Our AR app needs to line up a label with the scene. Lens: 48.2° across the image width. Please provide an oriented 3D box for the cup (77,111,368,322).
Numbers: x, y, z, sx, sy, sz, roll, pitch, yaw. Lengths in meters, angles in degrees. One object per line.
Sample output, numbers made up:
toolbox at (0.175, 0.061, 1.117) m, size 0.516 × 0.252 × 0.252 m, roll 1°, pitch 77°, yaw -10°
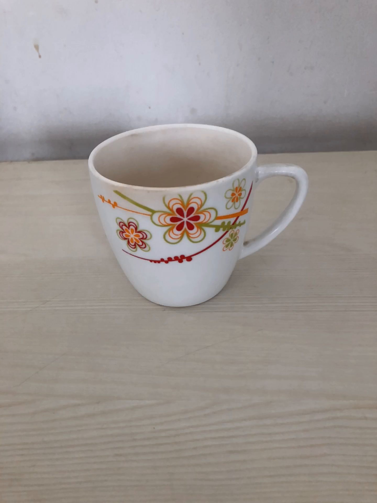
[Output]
cup at (0.012, -0.020, 0.207) m, size 0.110 × 0.070 × 0.070 m, roll -4°, pitch 34°, yaw -2°
